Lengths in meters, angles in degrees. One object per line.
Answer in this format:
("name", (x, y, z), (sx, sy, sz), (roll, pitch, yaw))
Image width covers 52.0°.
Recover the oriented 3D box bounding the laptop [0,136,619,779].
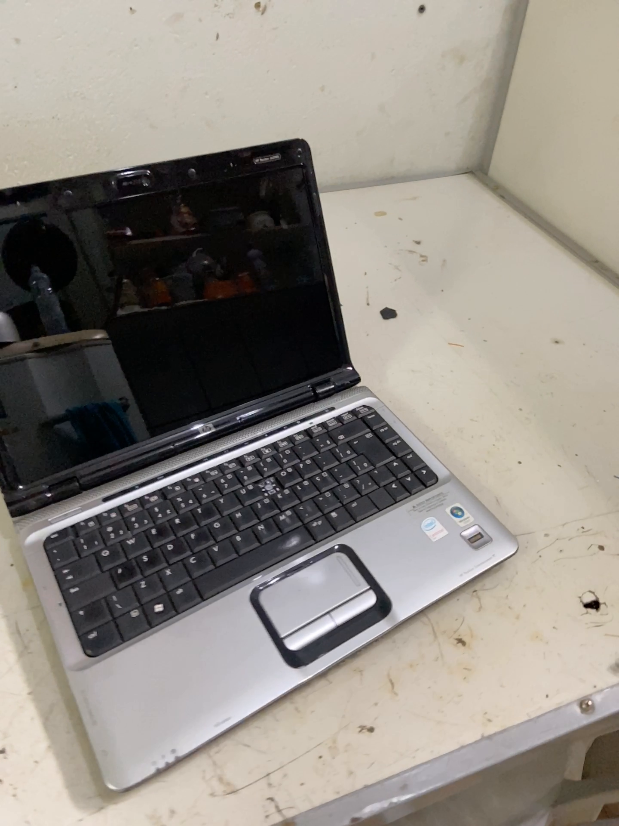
("laptop", (-0.050, -0.018, 0.461), (0.321, 0.193, 0.335), (-21, 49, -25))
